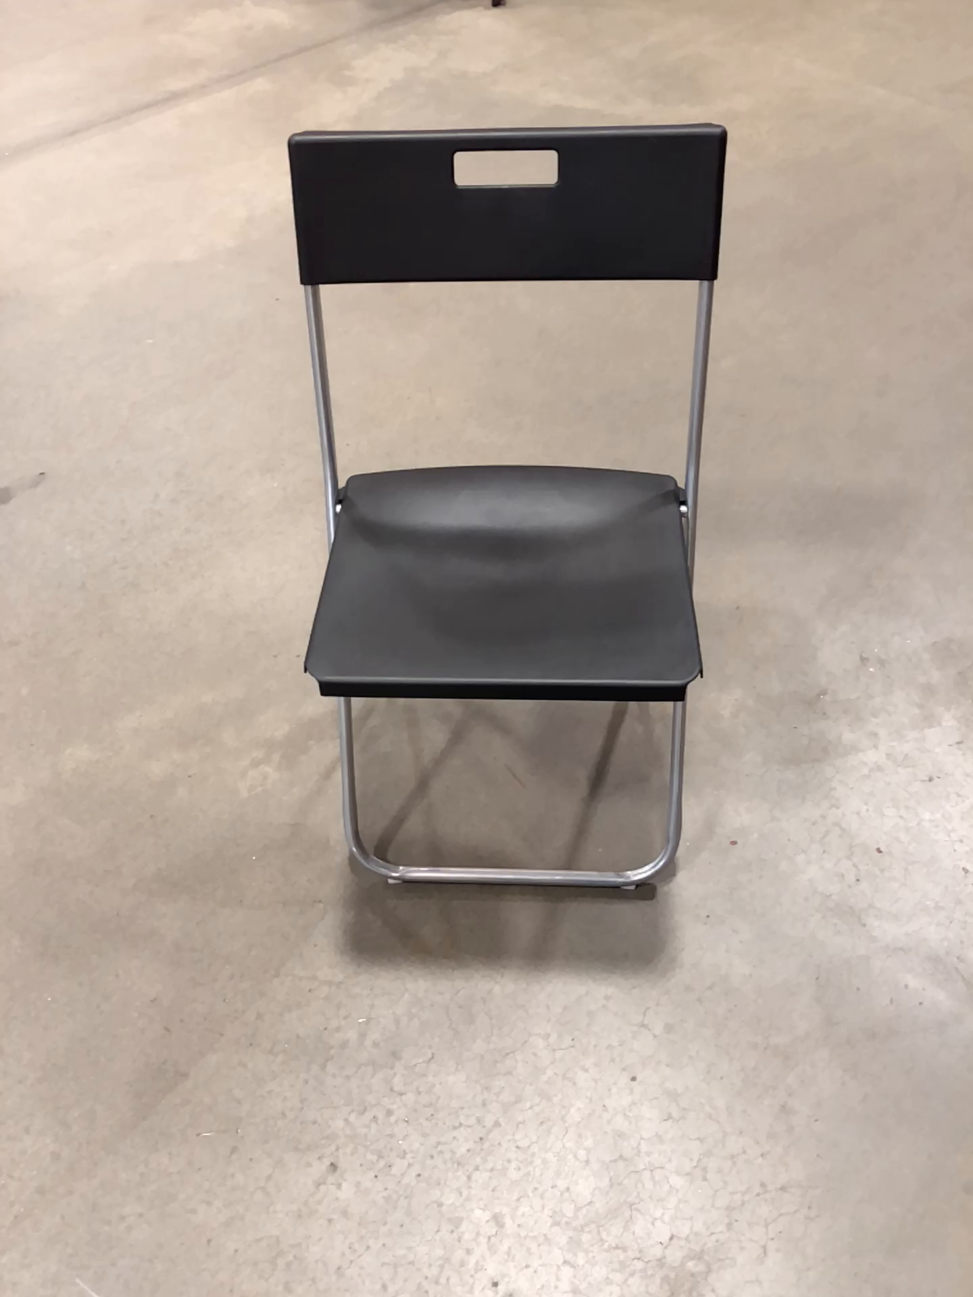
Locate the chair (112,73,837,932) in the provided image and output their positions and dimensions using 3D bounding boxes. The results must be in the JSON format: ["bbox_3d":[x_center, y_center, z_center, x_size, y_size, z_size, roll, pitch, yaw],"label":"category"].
[{"bbox_3d":[0.014,-0.101,1.112,0.460,0.758,0.461,1,49,4],"label":"chair"}]
